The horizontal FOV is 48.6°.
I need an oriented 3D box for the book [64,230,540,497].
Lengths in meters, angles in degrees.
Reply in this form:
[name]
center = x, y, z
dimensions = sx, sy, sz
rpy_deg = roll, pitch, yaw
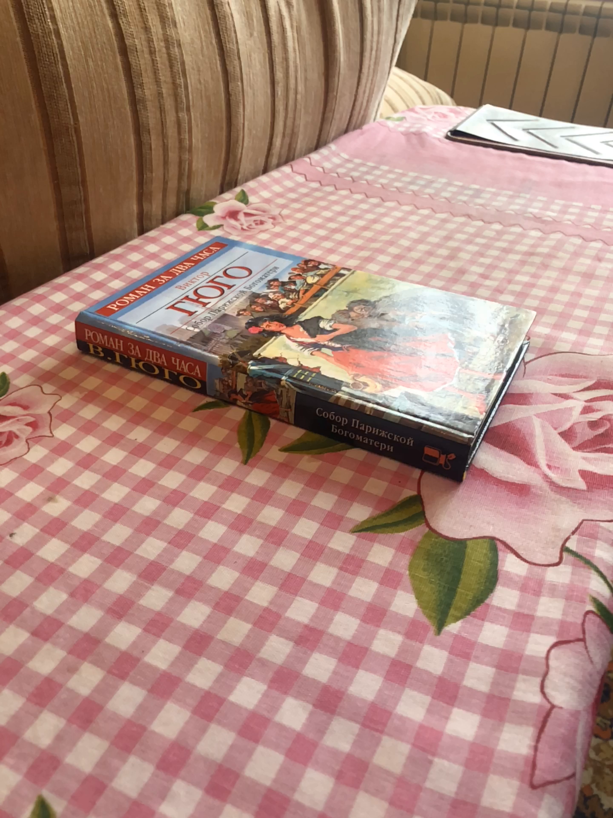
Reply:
[book]
center = 0.002, -0.039, 0.359
dimensions = 0.207, 0.027, 0.137
rpy_deg = 18, 38, 20
